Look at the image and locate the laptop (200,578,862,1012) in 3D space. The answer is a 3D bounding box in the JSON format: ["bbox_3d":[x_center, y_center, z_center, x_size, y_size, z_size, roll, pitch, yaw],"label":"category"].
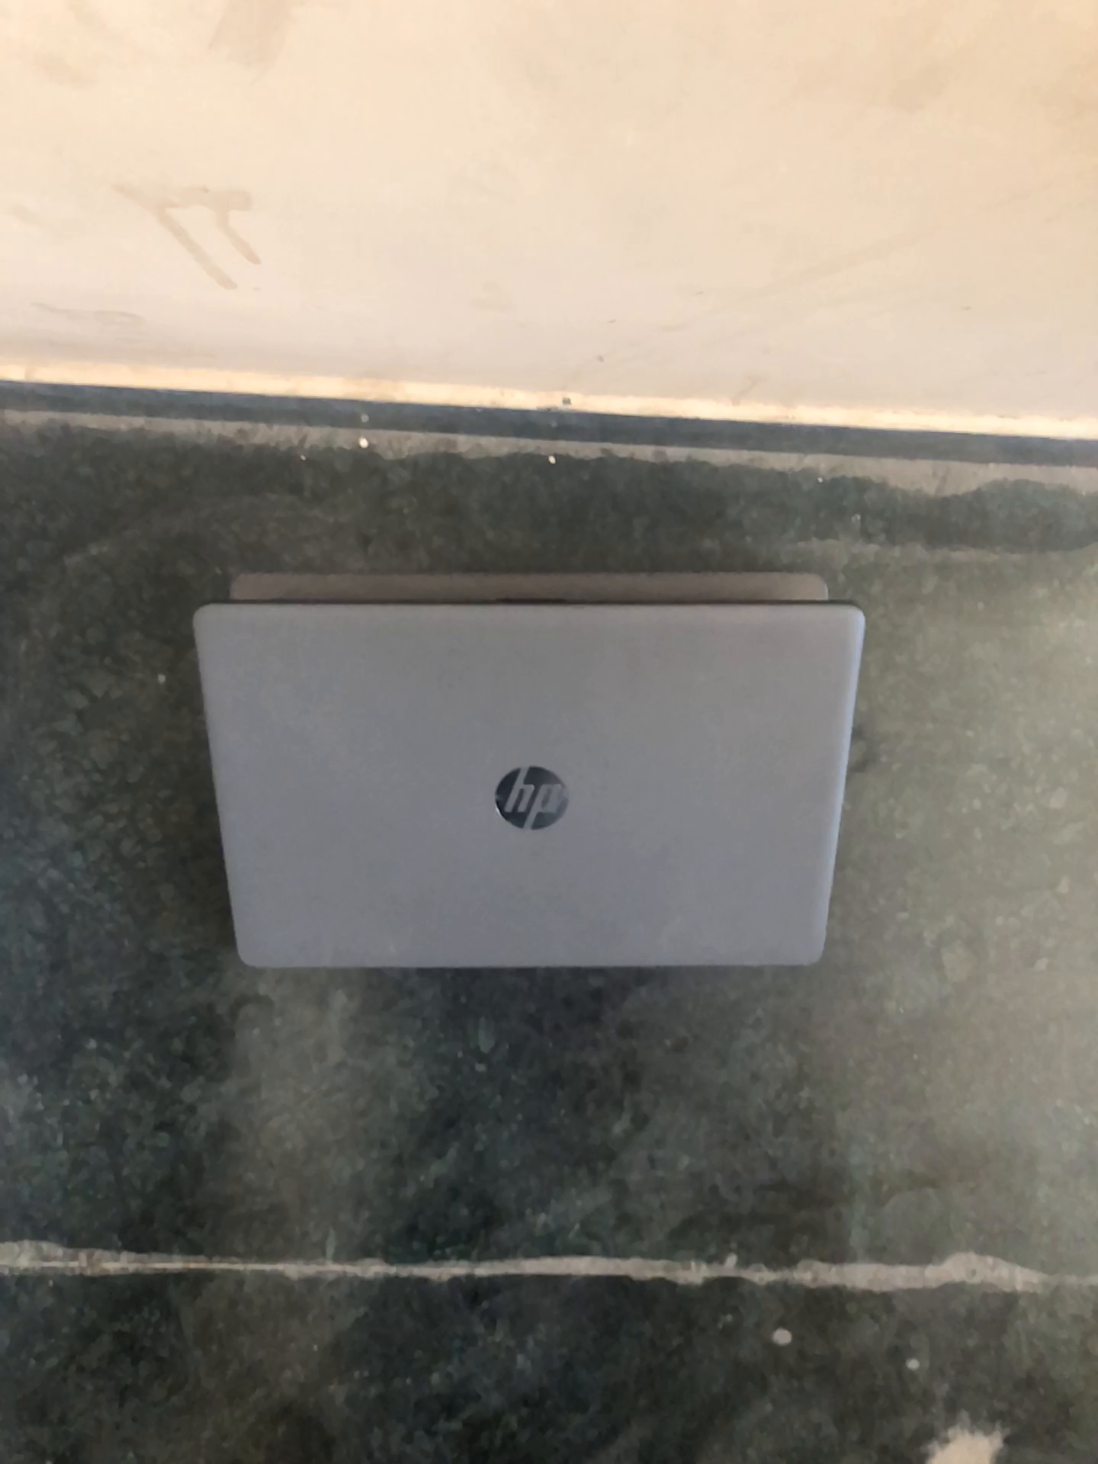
[{"bbox_3d":[-0.009,0.033,0.715,0.357,0.092,0.242,0,97,-1],"label":"laptop"}]
